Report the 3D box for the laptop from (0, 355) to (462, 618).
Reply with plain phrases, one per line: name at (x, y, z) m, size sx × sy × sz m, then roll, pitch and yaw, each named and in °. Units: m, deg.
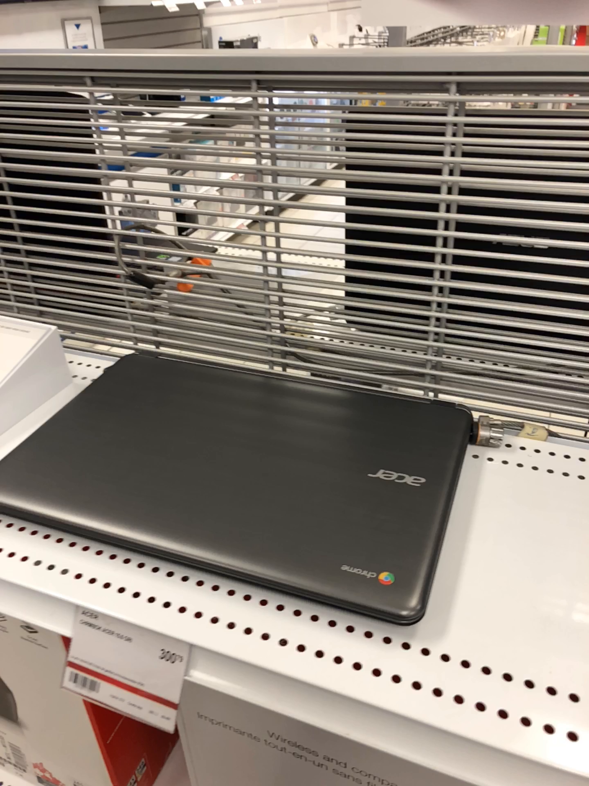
laptop at (-0.055, 0.049, 0.566) m, size 0.367 × 0.001 × 0.238 m, roll 10°, pitch 34°, yaw 21°
